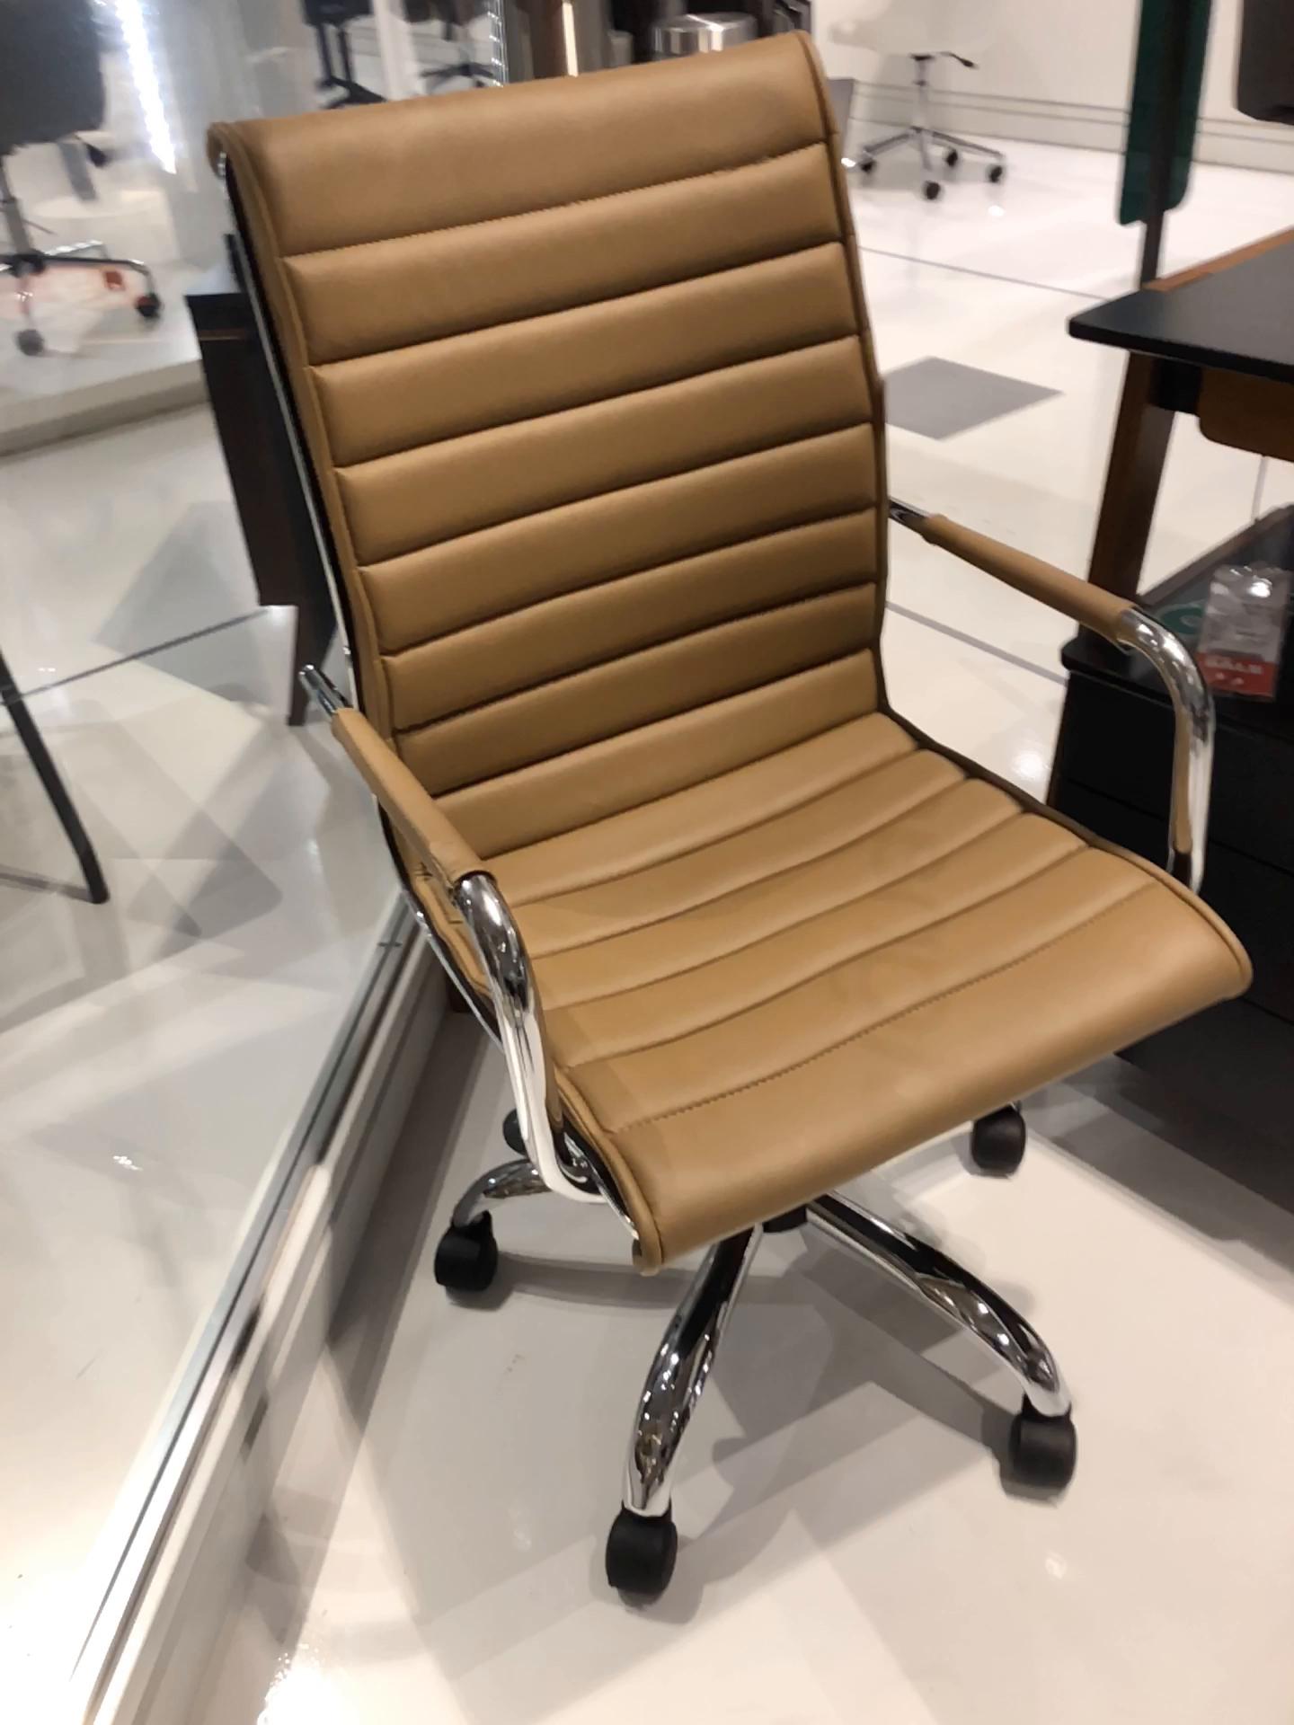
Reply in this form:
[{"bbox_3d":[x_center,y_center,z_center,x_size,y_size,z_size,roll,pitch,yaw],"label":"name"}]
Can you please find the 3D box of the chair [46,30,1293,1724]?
[{"bbox_3d":[0.069,0.002,1.016,0.601,0.943,0.613,-19,38,-20],"label":"chair"}]
